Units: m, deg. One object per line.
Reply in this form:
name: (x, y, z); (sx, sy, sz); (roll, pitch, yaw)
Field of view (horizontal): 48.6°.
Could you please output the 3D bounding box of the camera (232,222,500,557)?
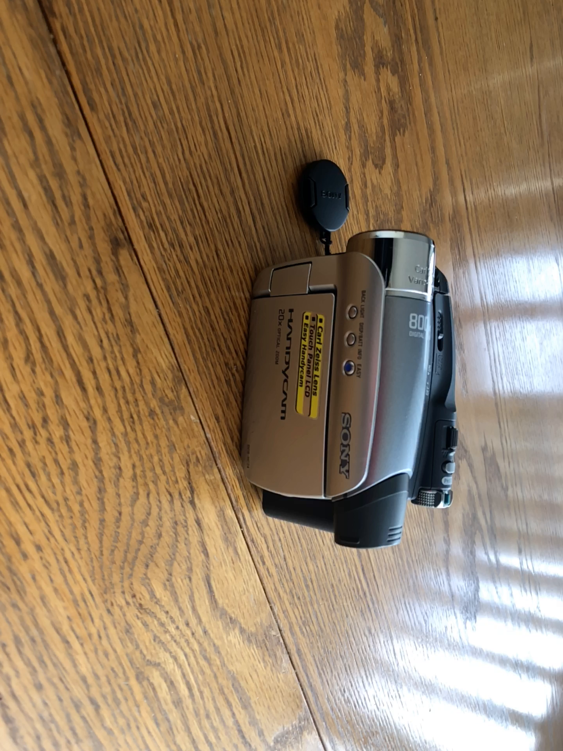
camera: (0.037, 0.005, 0.261); (0.080, 0.072, 0.111); (5, 89, -48)
